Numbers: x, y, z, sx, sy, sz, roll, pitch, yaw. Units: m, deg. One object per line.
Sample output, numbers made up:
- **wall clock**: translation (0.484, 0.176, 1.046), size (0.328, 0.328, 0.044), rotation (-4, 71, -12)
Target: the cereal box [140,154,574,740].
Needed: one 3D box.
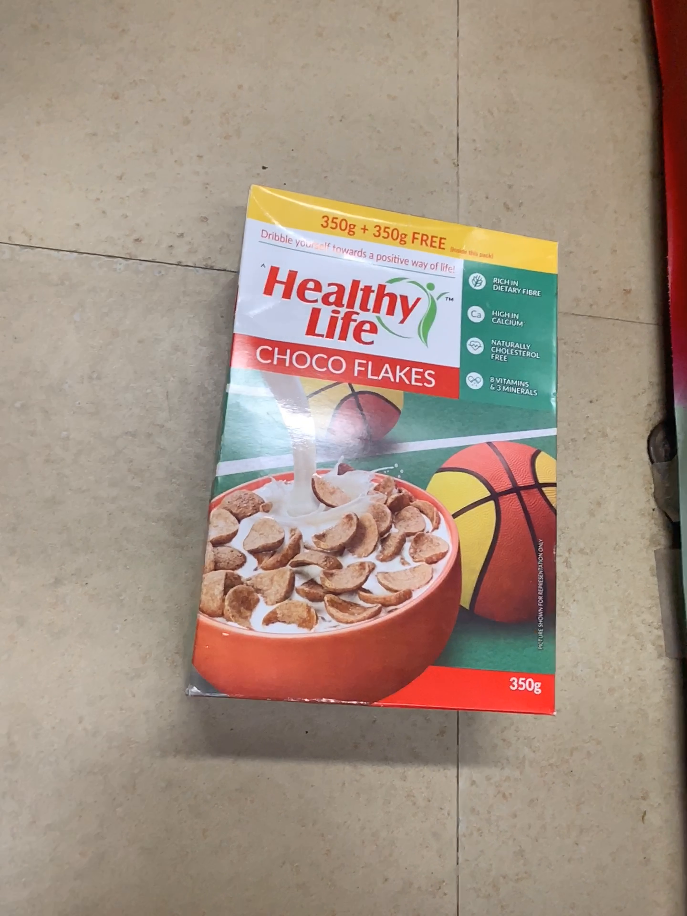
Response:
- **cereal box**: translation (0.010, 0.000, 0.403), size (0.200, 0.110, 0.280), rotation (7, 75, -10)
